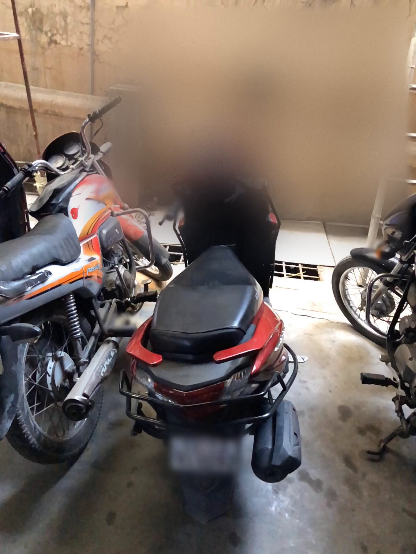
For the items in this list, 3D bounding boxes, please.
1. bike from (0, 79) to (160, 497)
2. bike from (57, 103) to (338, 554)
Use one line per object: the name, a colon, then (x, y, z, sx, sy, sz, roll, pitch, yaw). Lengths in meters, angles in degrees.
bike: (-0.771, -0.164, 2.036, 0.838, 1.089, 1.658, 7, 29, -1)
bike: (-0.060, 0.049, 1.908, 0.630, 1.140, 1.446, 7, 31, -1)
